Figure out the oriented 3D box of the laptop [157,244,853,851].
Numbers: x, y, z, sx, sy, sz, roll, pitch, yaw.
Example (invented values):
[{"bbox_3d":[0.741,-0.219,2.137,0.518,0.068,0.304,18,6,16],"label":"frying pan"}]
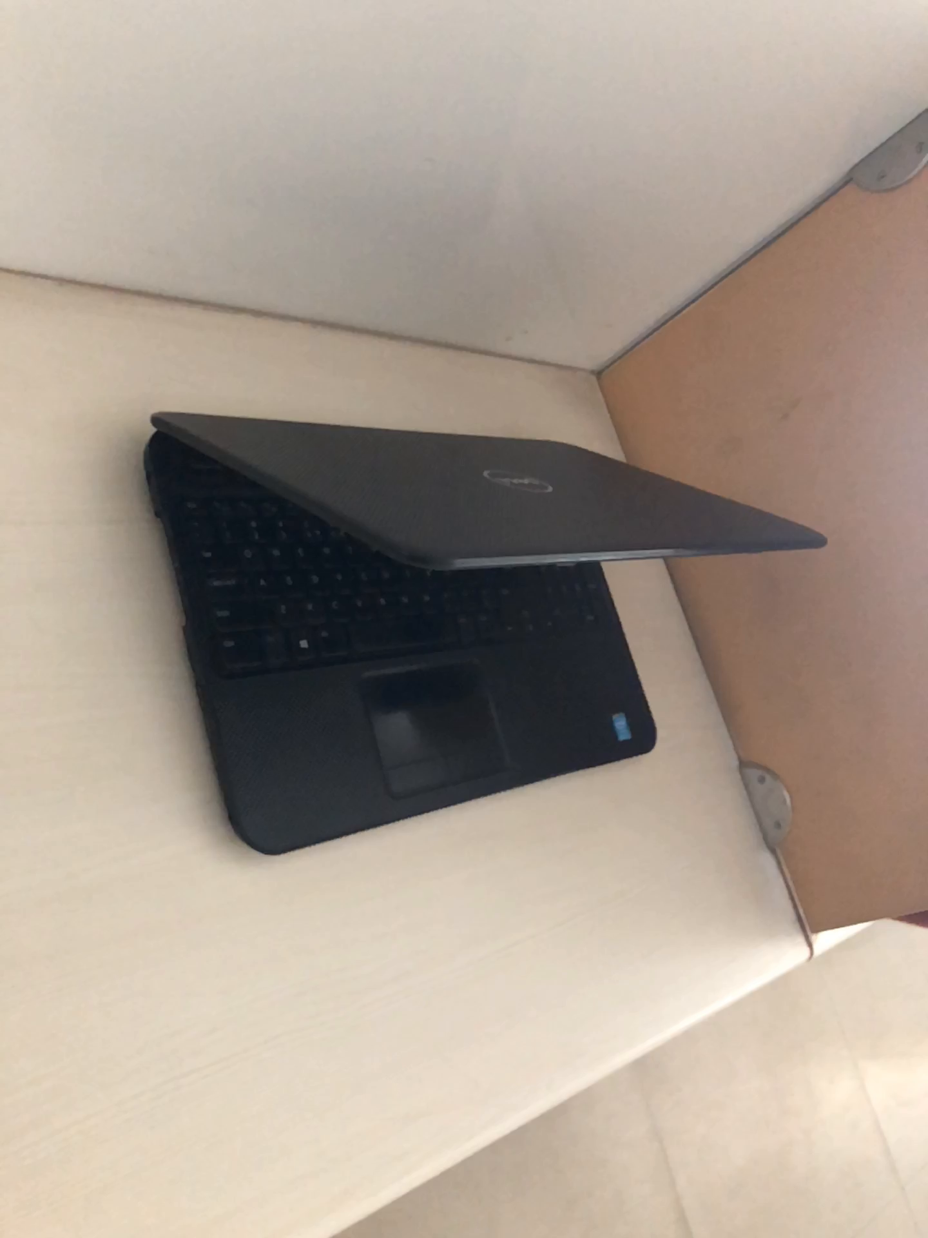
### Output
[{"bbox_3d":[0.041,-0.038,0.643,0.366,0.177,0.247,-6,73,-45],"label":"laptop"}]
